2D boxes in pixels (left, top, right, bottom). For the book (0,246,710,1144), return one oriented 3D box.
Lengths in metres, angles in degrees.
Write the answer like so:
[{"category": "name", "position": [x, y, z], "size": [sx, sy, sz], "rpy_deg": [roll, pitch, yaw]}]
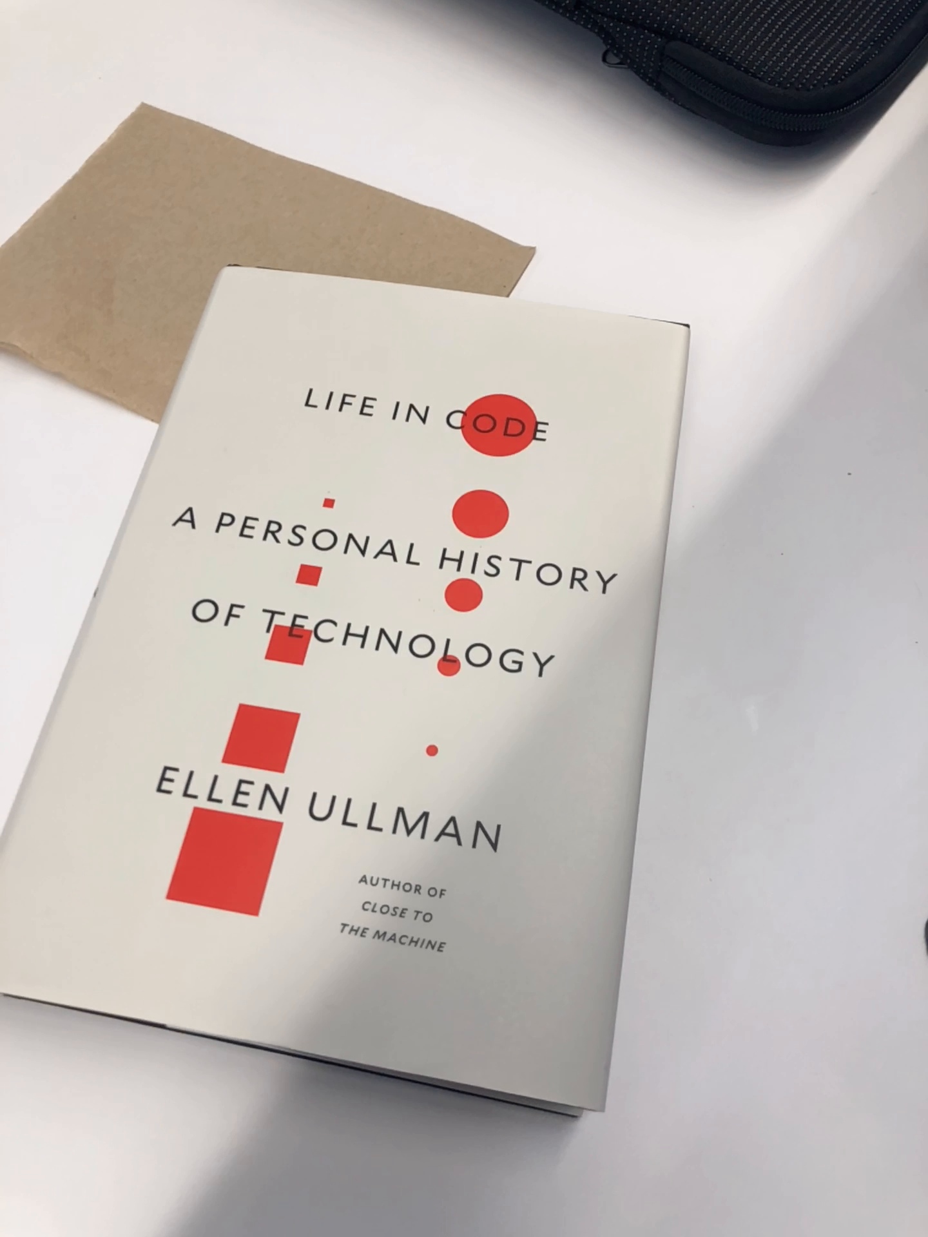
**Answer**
[{"category": "book", "position": [-0.028, 0.001, 0.276], "size": [0.160, 0.030, 0.220], "rpy_deg": [10, 63, 6]}]
